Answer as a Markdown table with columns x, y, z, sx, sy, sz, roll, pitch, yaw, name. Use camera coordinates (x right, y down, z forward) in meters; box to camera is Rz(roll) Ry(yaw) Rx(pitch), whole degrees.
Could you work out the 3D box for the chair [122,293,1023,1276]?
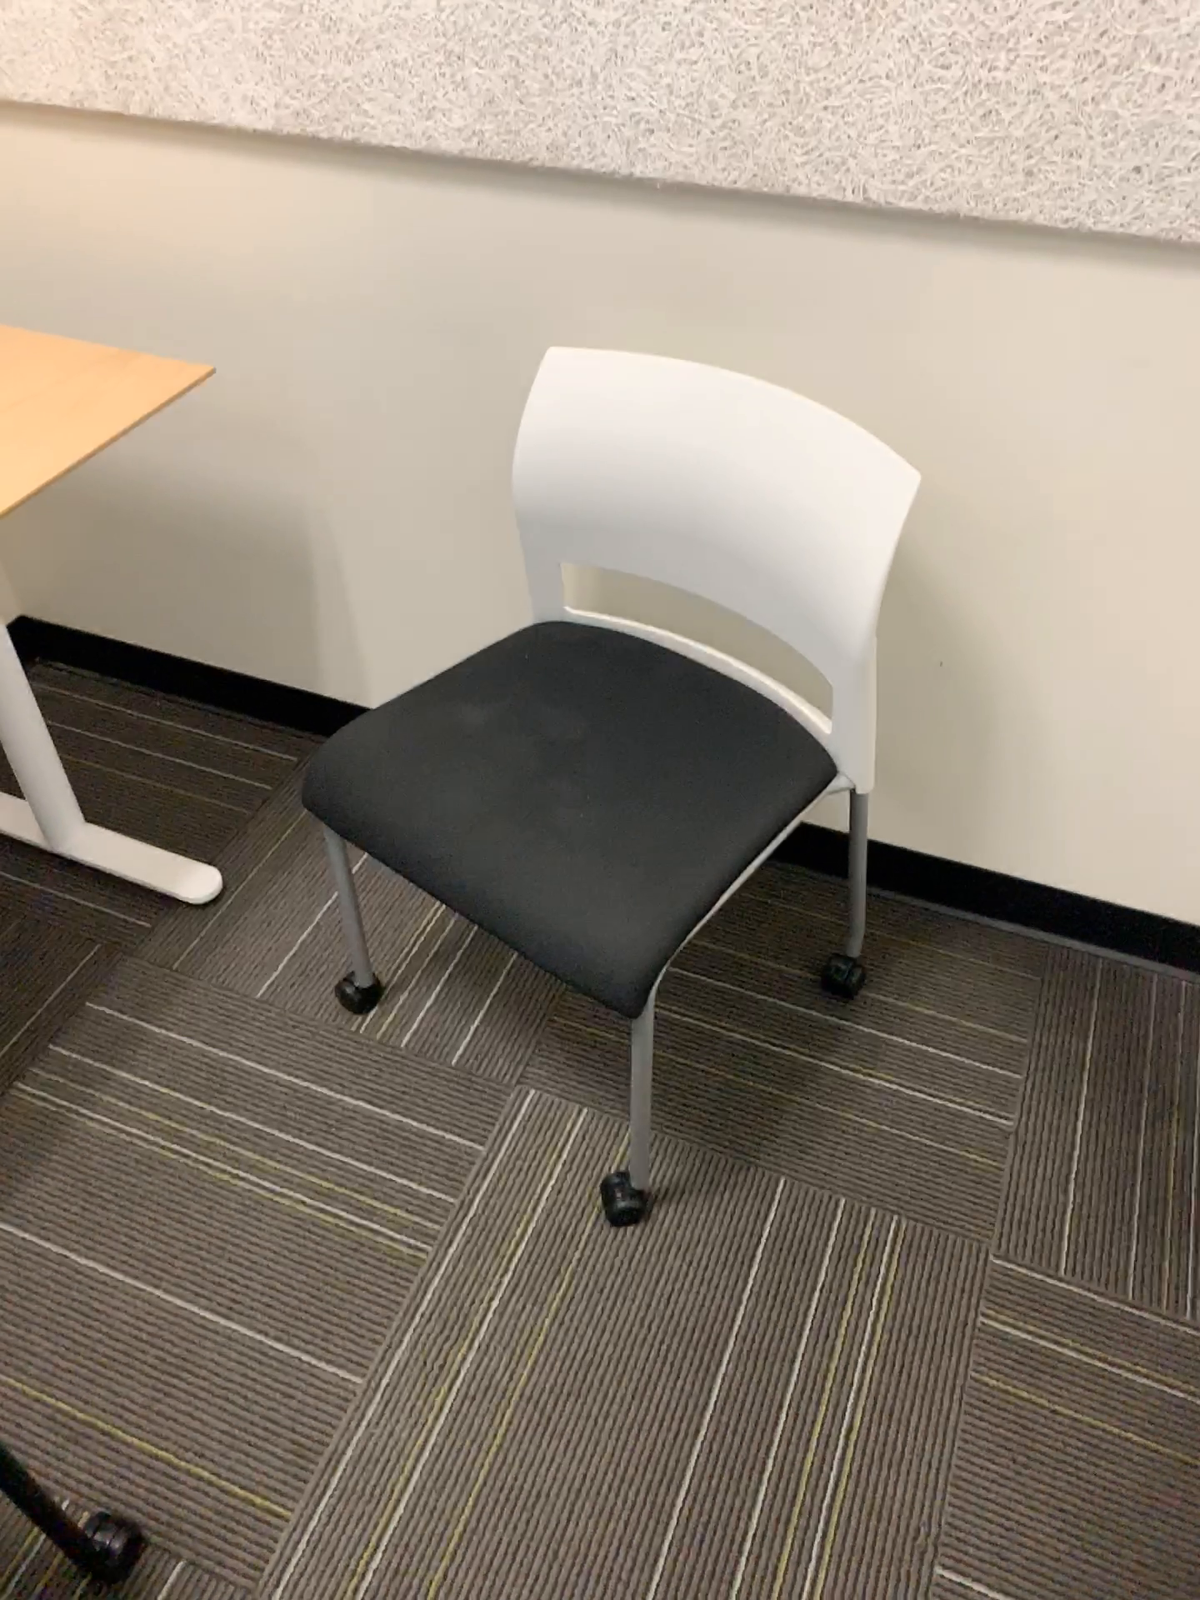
| x | y | z | sx | sy | sz | roll | pitch | yaw | name |
| --- | --- | --- | --- | --- | --- | --- | --- | --- | --- |
| -0.008 | -0.040 | 1.447 | 0.622 | 0.775 | 0.622 | 26 | 49 | 26 | chair |
